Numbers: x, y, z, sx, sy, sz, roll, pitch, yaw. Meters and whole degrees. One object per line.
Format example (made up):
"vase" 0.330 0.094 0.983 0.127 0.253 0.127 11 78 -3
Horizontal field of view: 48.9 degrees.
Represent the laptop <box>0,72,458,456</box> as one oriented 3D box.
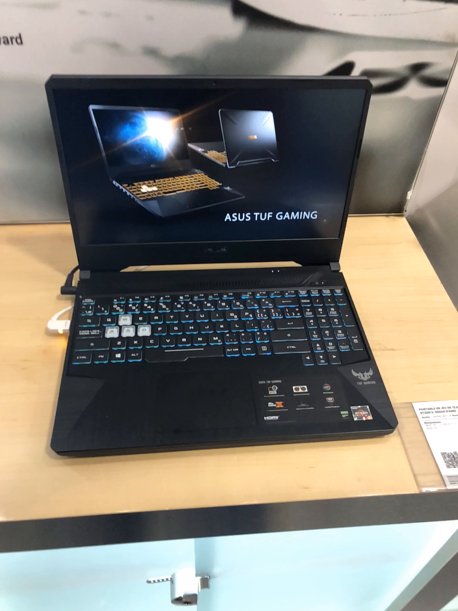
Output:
"laptop" -0.011 -0.058 0.532 0.358 0.245 0.310 -3 46 -6
